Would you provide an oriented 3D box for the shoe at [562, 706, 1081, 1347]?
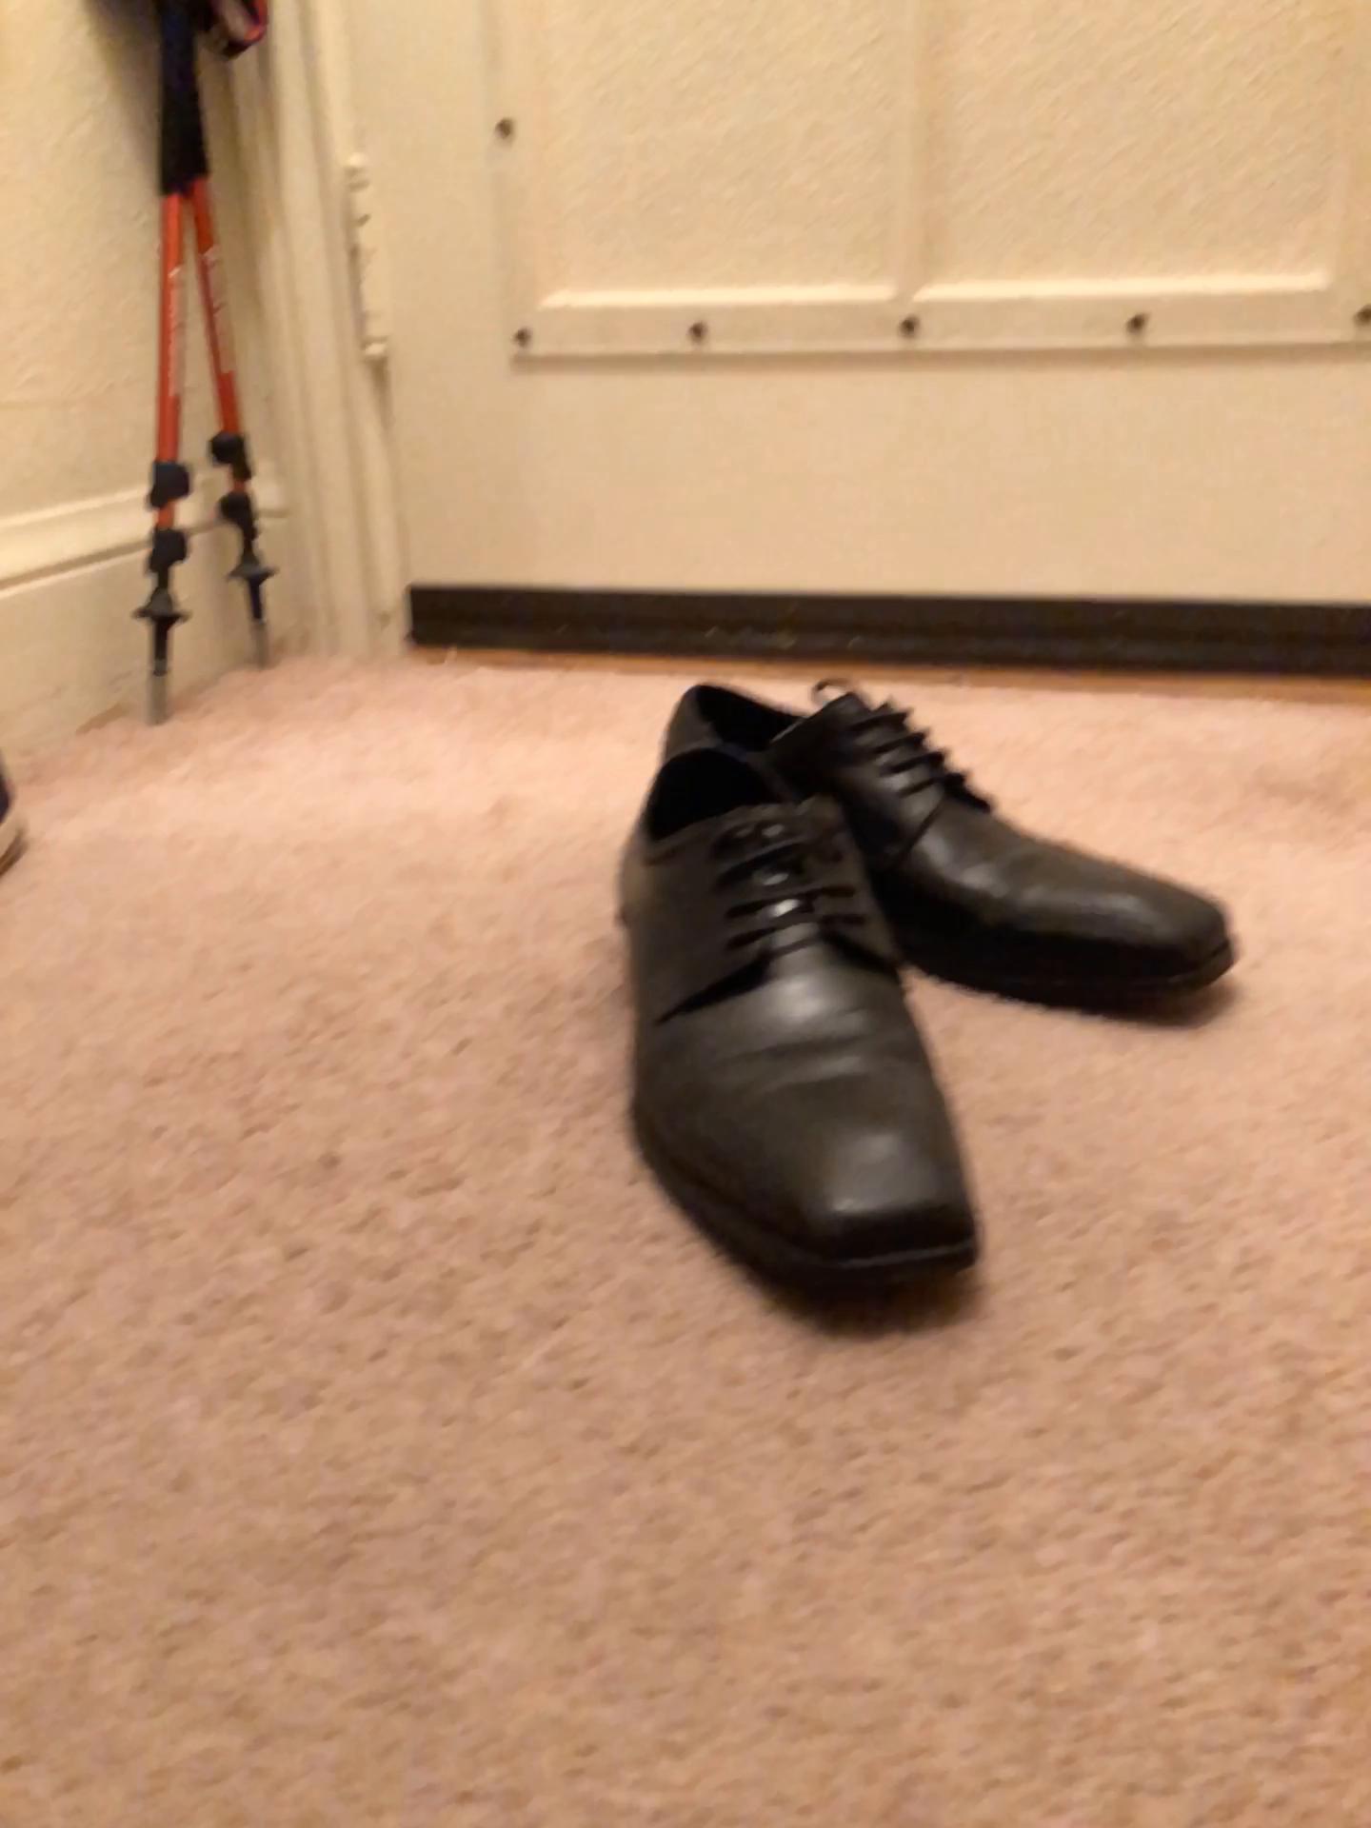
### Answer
[{"bbox_3d":[0.030,0.017,0.558,0.110,0.107,0.284,-6,24,-10],"label":"shoe"}]

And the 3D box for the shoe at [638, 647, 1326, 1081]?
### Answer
[{"bbox_3d":[0.124,-0.040,0.714,0.297,0.110,0.115,20,31,40],"label":"shoe"}]
